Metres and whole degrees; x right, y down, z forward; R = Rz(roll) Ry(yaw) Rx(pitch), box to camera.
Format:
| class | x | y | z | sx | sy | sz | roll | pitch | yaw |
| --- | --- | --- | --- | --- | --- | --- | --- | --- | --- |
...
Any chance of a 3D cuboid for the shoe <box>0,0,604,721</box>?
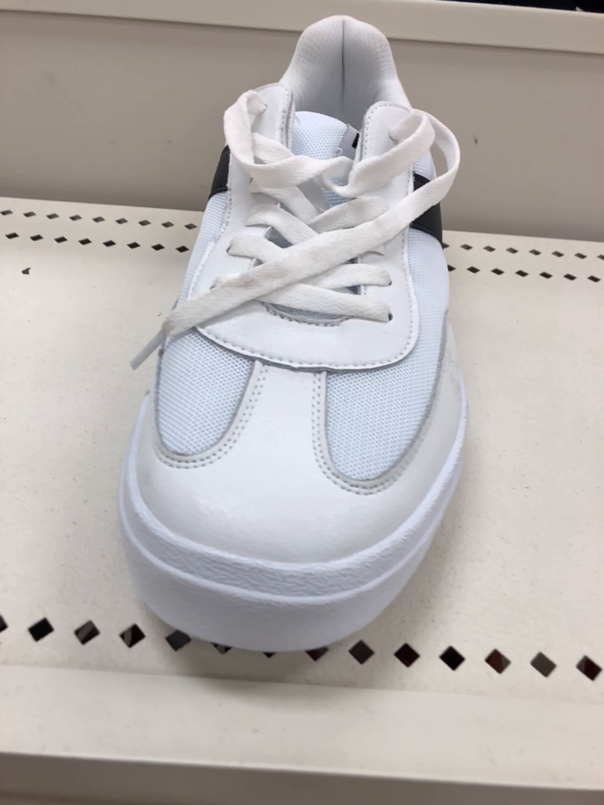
| class | x | y | z | sx | sy | sz | roll | pitch | yaw |
| --- | --- | --- | --- | --- | --- | --- | --- | --- | --- |
| shoe | 0.019 | -0.087 | 0.280 | 0.113 | 0.129 | 0.373 | 7 | 32 | 5 |
